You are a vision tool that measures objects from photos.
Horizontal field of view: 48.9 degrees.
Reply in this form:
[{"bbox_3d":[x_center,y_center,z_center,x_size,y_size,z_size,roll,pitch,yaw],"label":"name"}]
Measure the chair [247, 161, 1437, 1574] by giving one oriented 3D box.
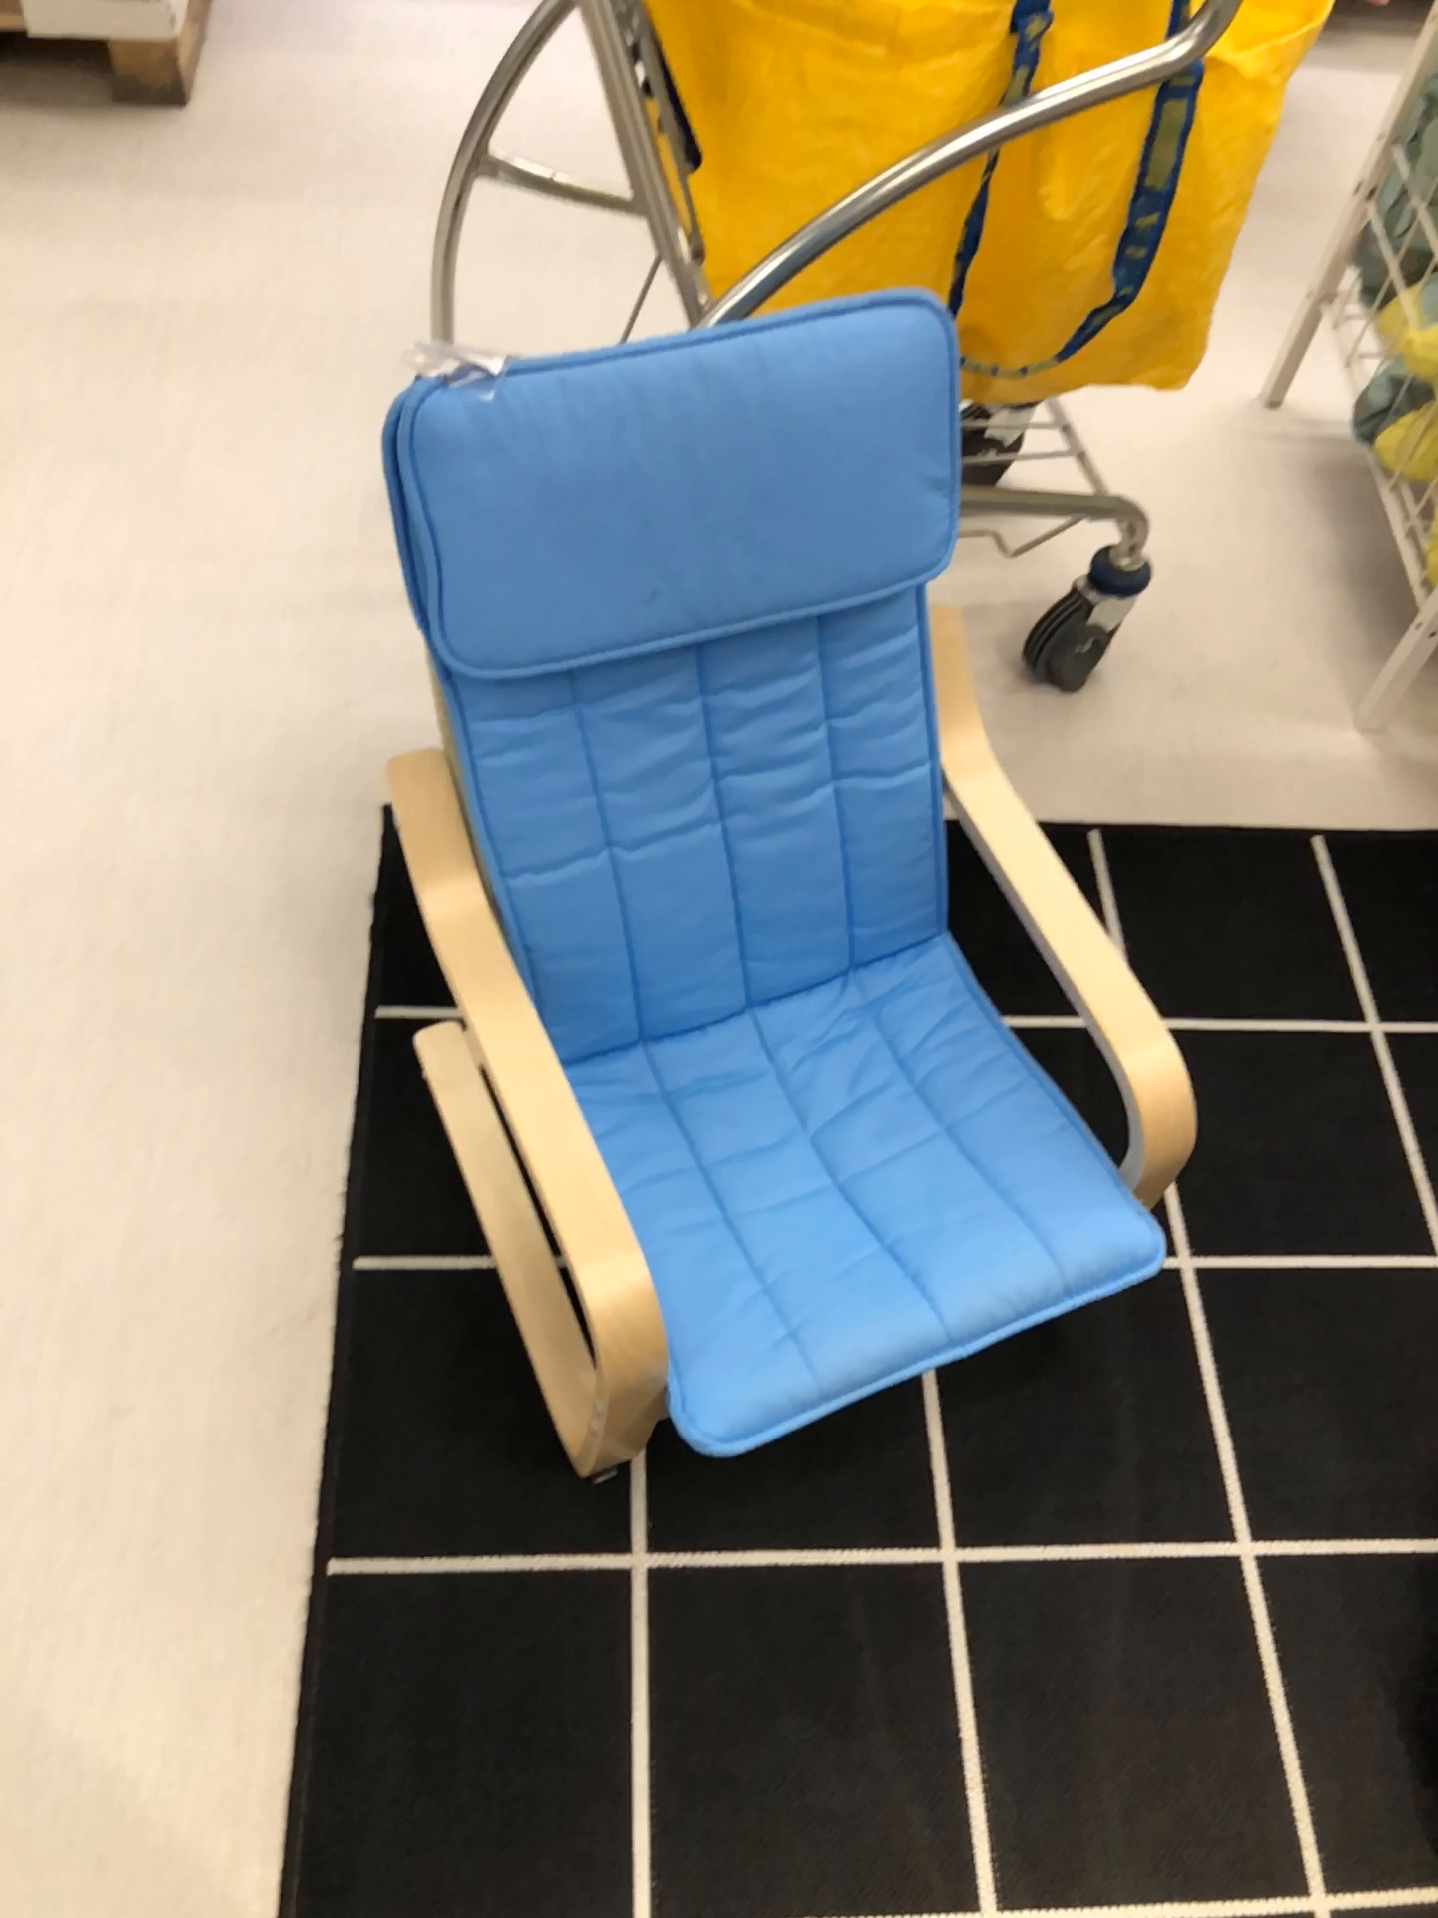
[{"bbox_3d":[0.022,0.001,1.207,0.490,0.876,0.562,-17,60,-17],"label":"chair"}]
